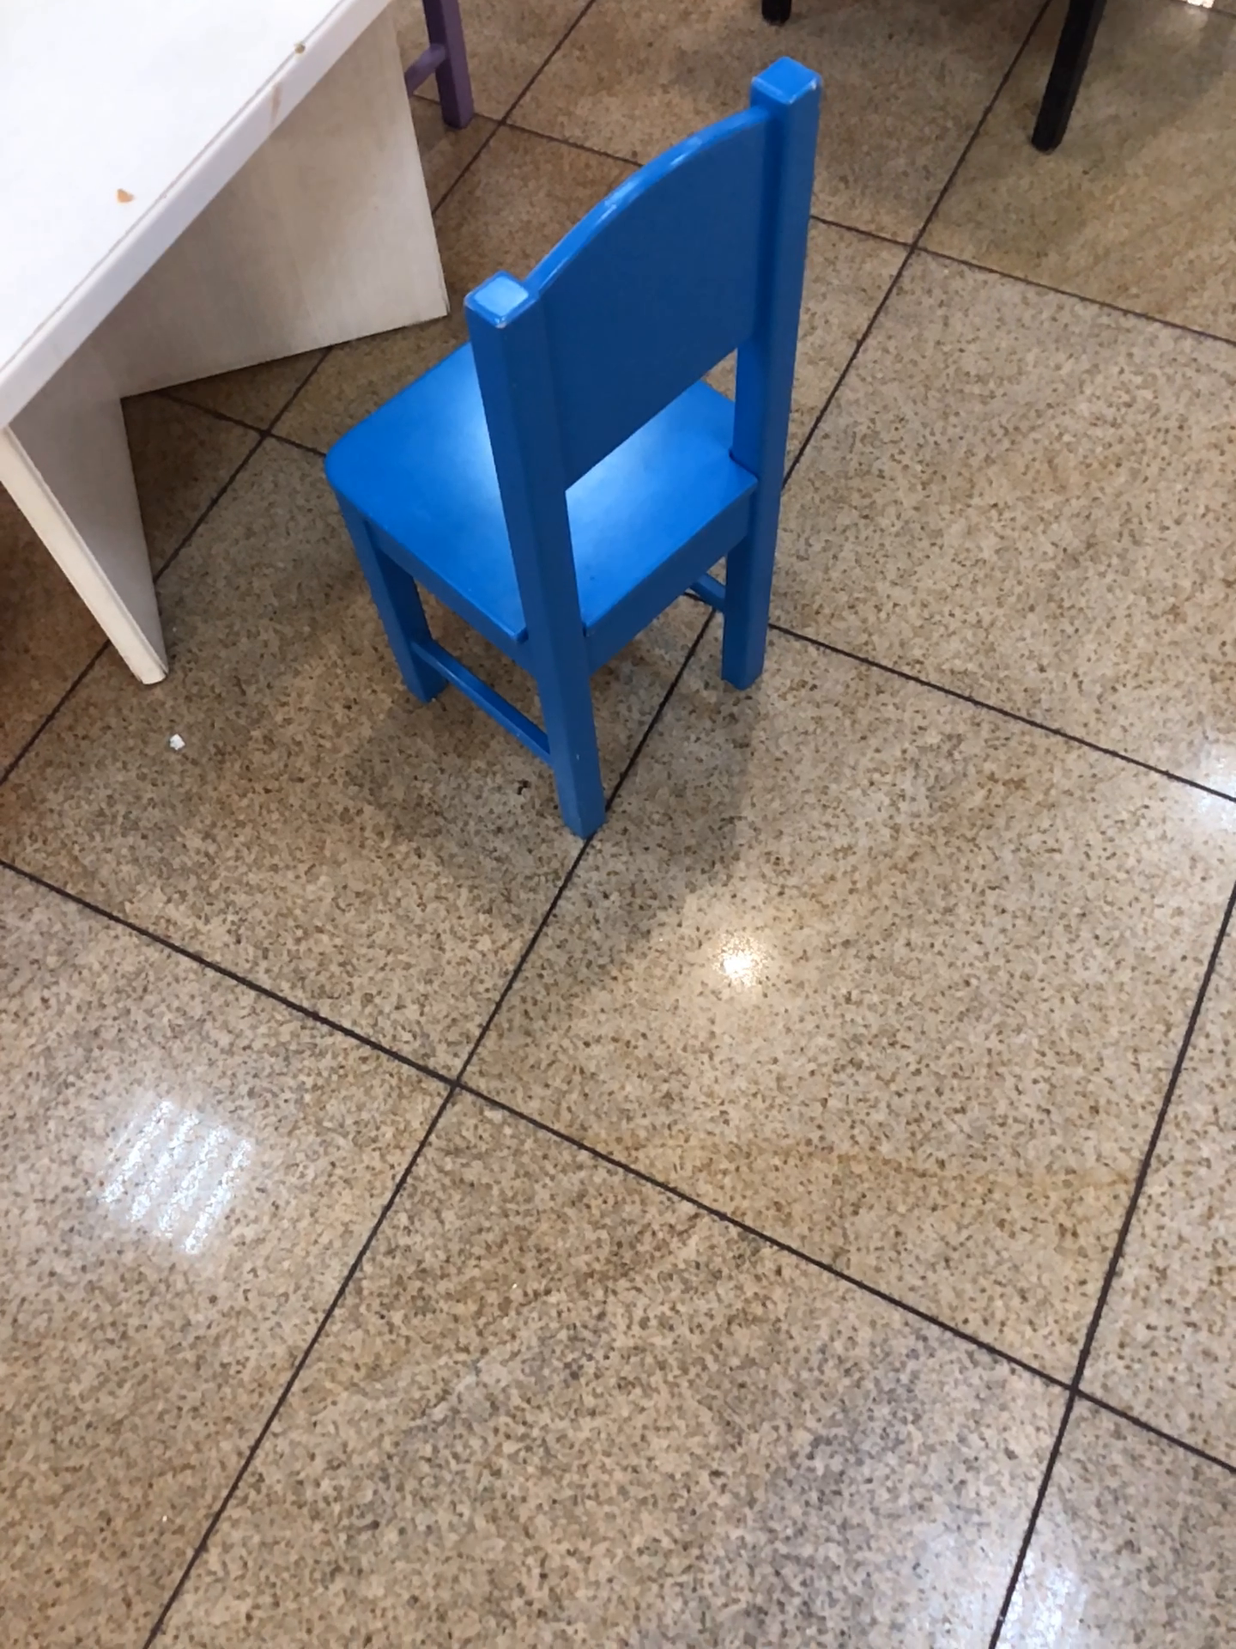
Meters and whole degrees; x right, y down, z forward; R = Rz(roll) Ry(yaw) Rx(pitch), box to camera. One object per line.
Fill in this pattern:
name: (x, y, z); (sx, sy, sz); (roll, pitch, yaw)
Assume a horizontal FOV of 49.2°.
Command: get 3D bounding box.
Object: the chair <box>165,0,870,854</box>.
chair: (-0.050, -0.302, 1.098); (0.300, 0.639, 0.300); (40, 72, 19)
